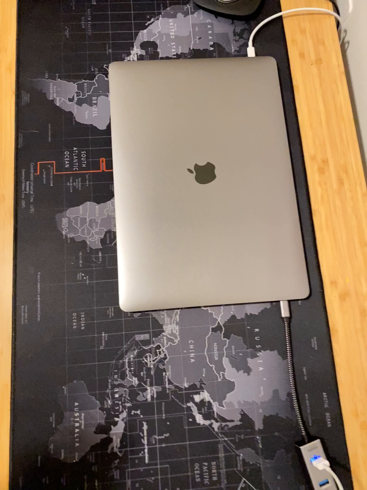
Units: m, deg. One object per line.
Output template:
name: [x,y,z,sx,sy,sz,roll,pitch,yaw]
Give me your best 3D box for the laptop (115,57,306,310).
laptop: [0.027,-0.095,0.490,0.226,0.002,0.336,-3,77,-3]
